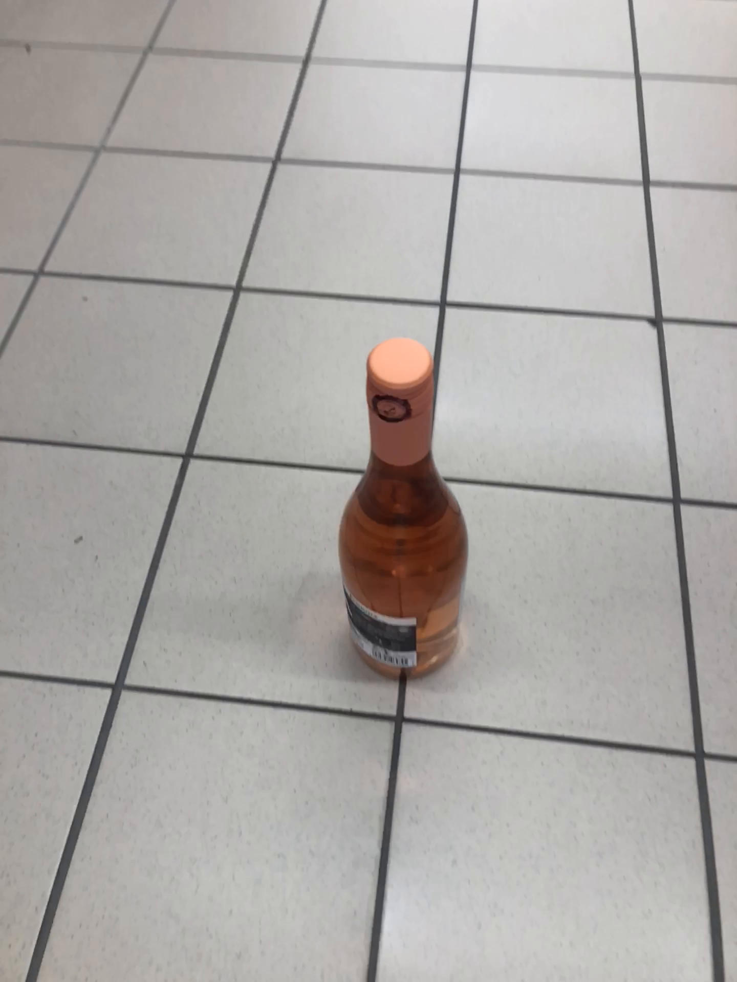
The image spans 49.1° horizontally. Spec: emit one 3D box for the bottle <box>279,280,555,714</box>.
[{"bbox_3d":[0.025,0.026,0.463,0.090,0.278,0.080,29,62,19],"label":"bottle"}]
